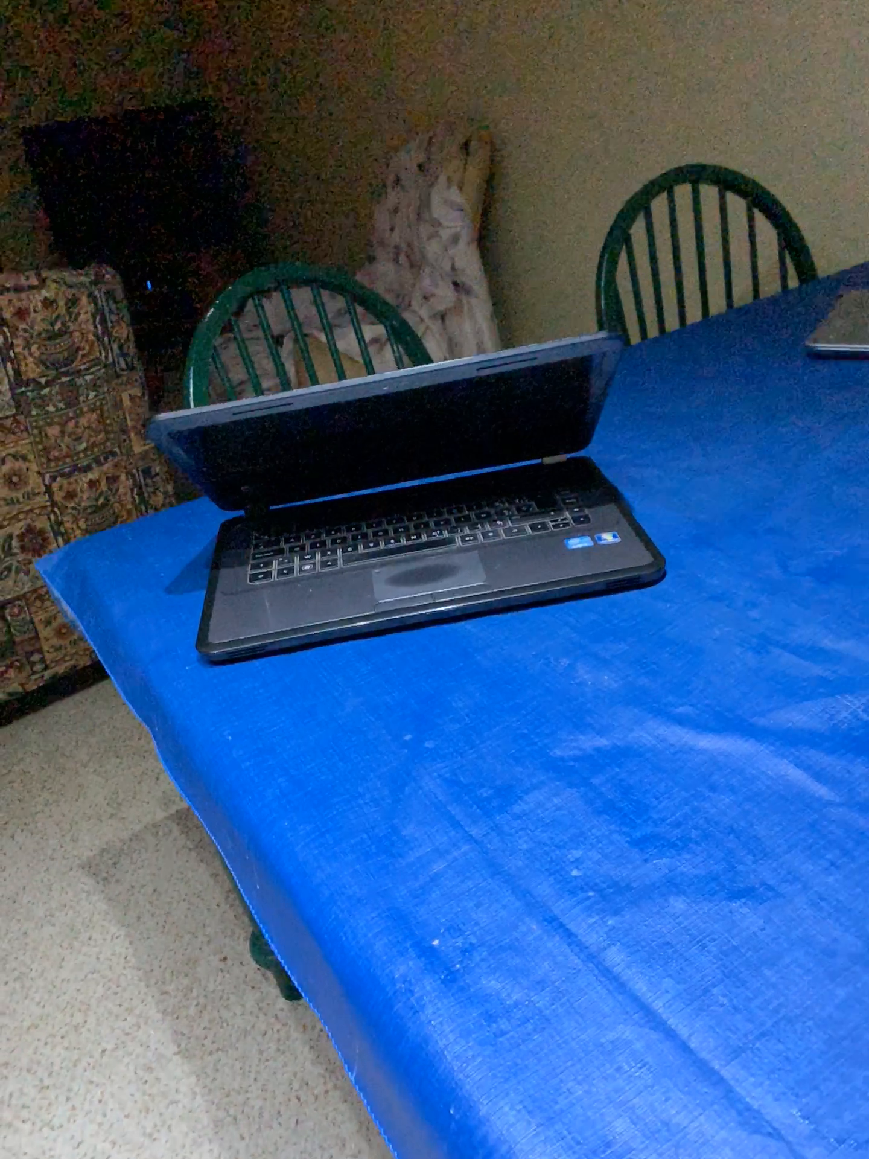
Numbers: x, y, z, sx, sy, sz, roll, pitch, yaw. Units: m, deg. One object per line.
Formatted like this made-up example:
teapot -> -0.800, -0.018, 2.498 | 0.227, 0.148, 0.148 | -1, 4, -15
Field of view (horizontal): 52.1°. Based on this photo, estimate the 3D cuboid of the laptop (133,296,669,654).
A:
laptop -> -0.023, -0.103, 0.739 | 0.361, 0.160, 0.245 | -10, 28, -2
